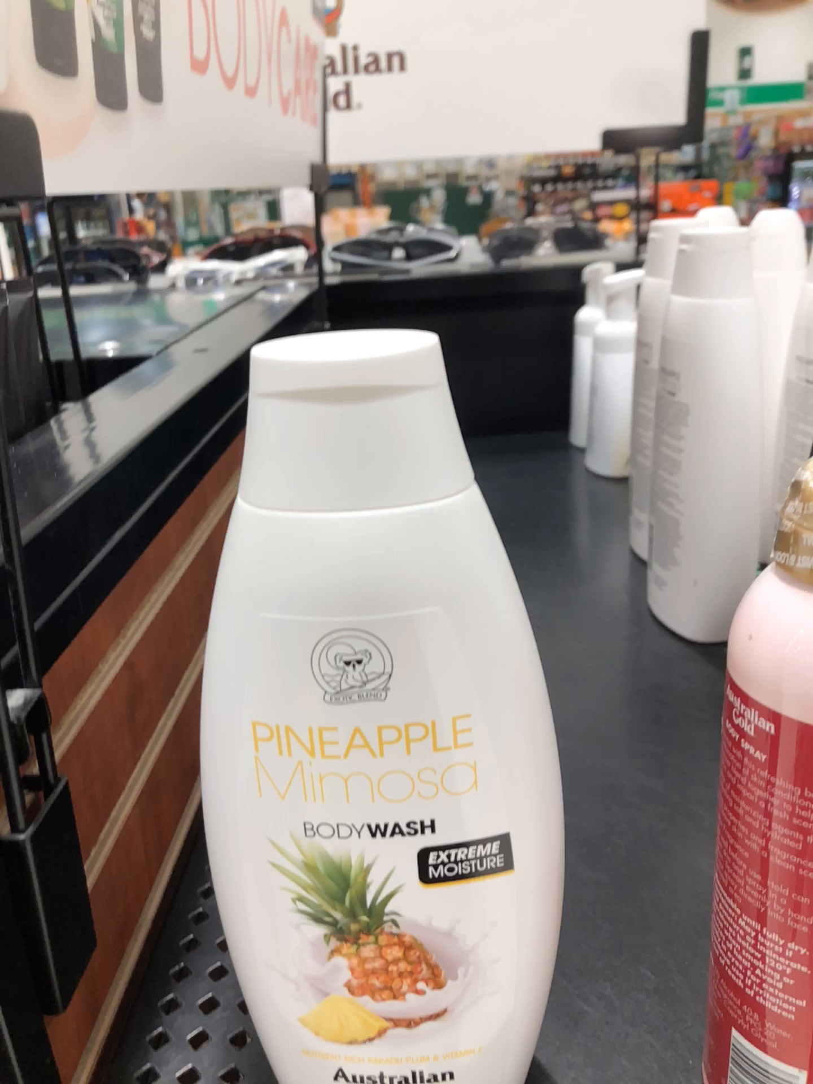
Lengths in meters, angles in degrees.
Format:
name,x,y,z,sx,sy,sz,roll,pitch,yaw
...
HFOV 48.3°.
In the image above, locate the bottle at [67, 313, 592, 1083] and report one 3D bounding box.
name,x,y,z,sx,sy,sz,roll,pitch,yaw
bottle,-0.007,0.056,0.237,0.100,0.214,0.060,-2,21,4
